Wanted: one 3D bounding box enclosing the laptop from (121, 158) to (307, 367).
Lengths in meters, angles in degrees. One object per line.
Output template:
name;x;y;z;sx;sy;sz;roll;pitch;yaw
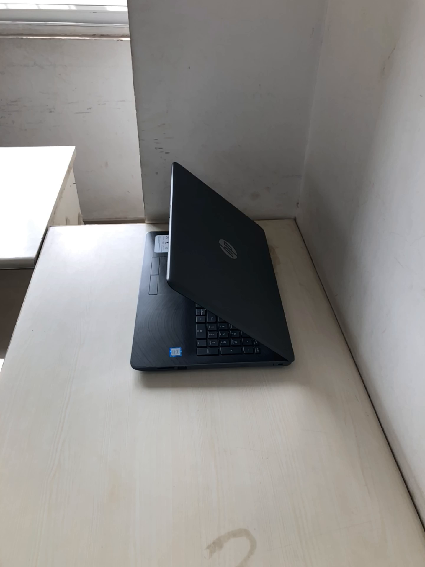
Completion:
laptop;-0.008;-0.056;0.795;0.244;0.156;0.358;0;41;-4
